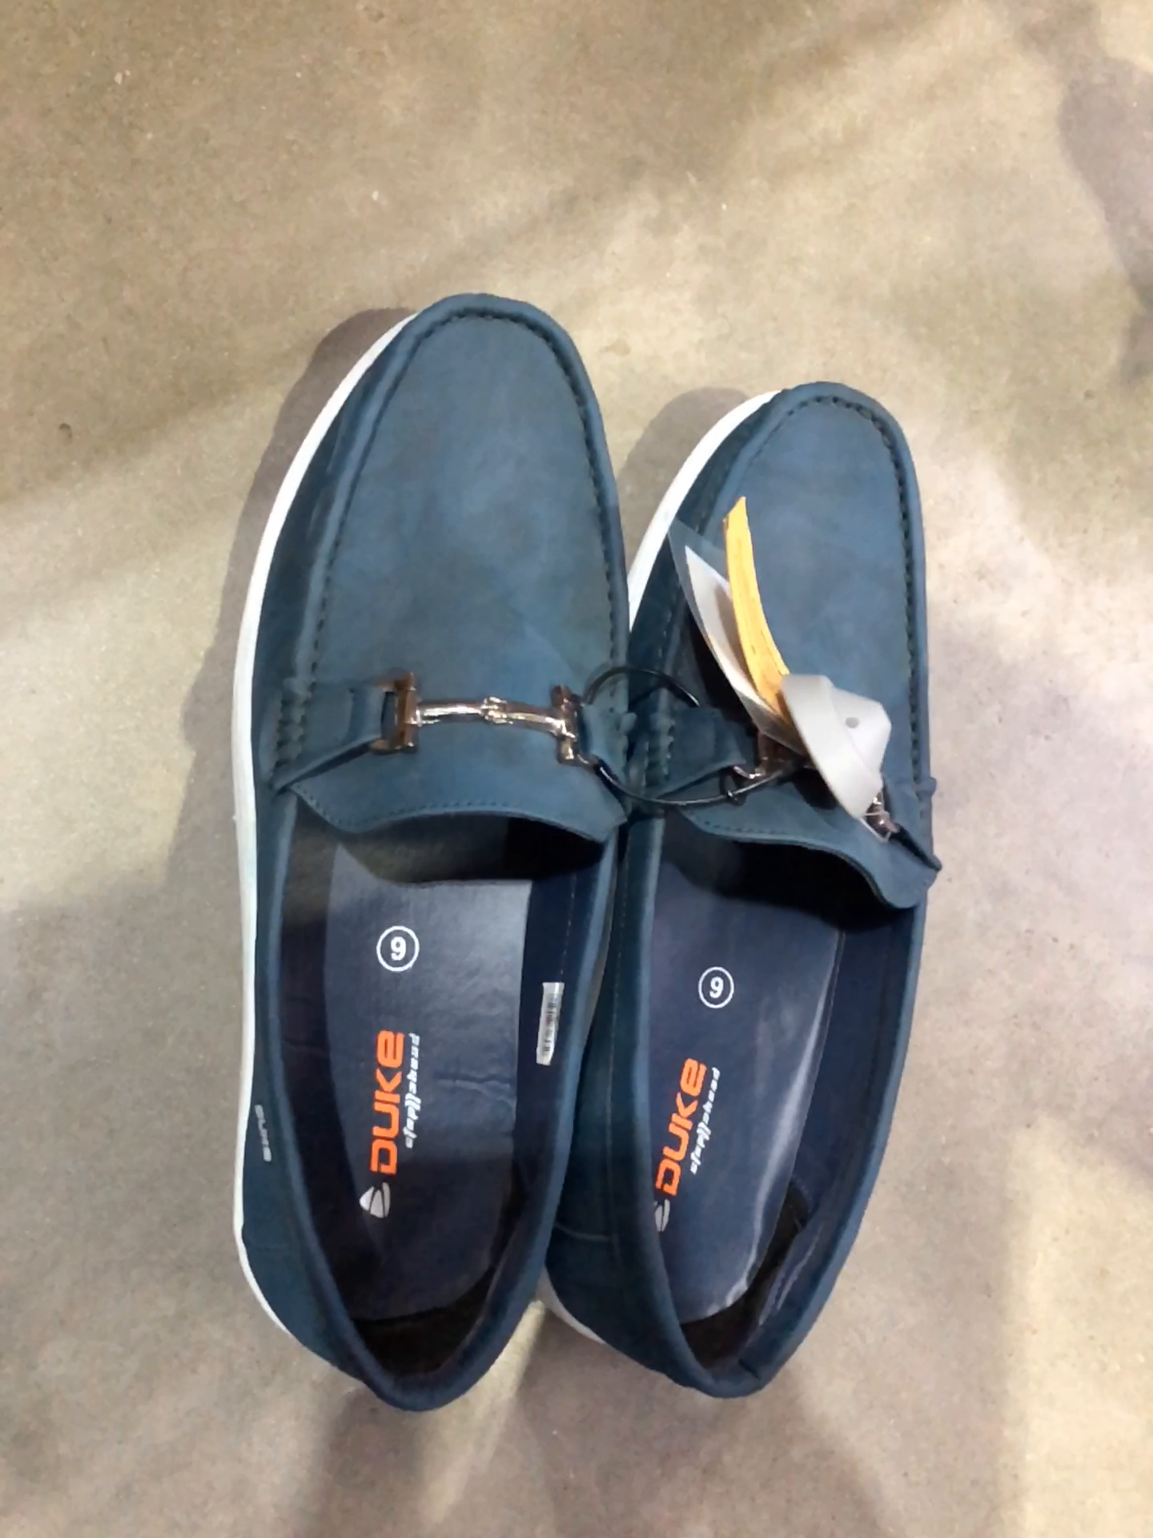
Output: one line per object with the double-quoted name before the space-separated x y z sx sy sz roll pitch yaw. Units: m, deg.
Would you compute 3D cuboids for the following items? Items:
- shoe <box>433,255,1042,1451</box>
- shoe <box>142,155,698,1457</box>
"shoe" 0.049 0.023 0.385 0.110 0.080 0.310 13 82 -17
"shoe" -0.045 0.010 0.357 0.110 0.080 0.310 7 84 -18
